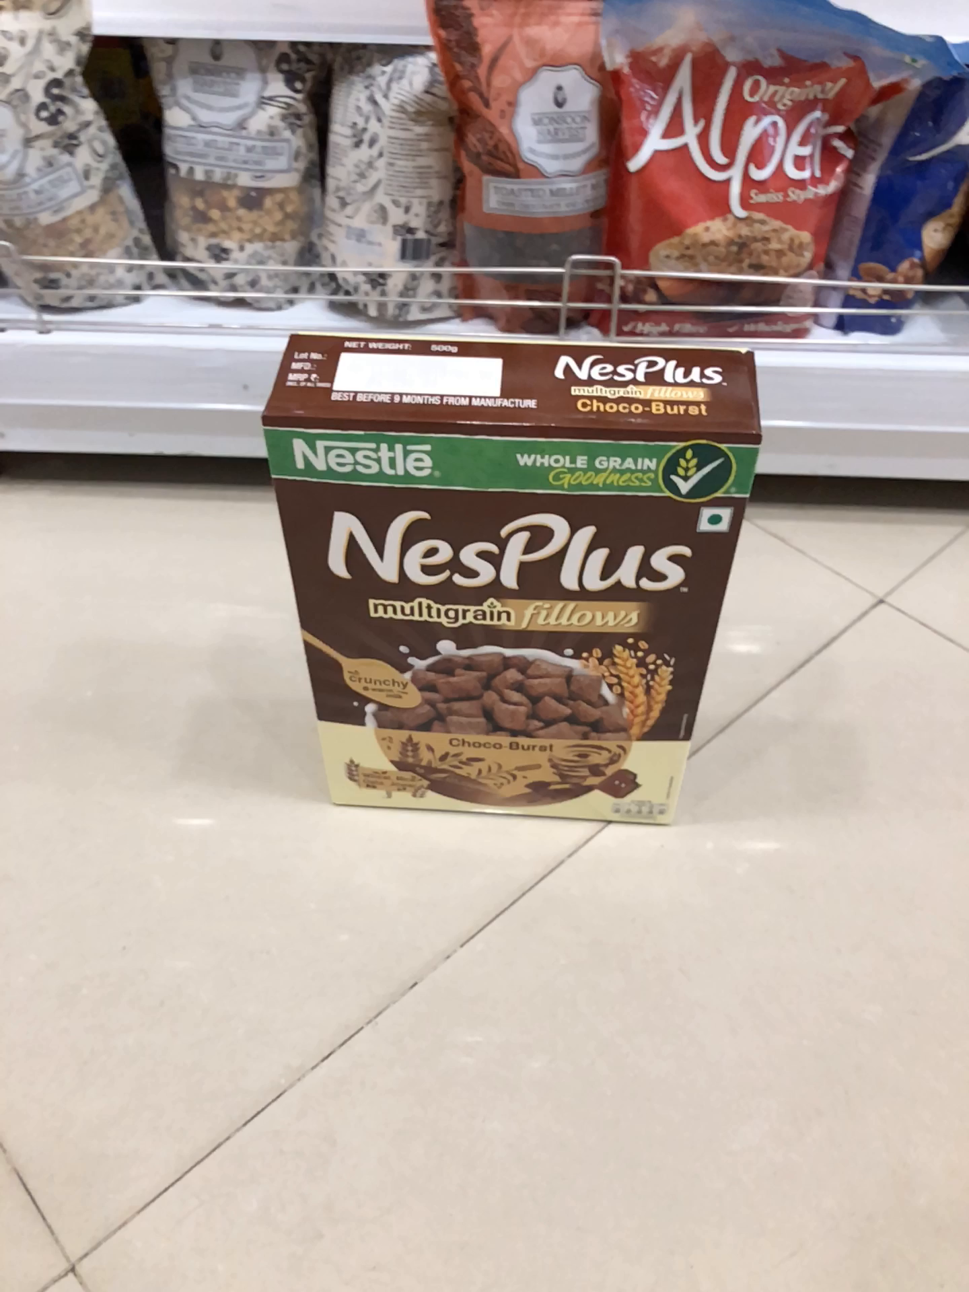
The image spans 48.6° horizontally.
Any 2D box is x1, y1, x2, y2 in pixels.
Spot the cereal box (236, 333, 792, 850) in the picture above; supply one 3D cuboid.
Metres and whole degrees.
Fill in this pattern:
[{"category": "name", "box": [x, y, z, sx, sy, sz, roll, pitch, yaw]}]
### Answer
[{"category": "cereal box", "box": [0.012, -0.009, 0.499, 0.200, 0.258, 0.060, 3, 46, 3]}]
